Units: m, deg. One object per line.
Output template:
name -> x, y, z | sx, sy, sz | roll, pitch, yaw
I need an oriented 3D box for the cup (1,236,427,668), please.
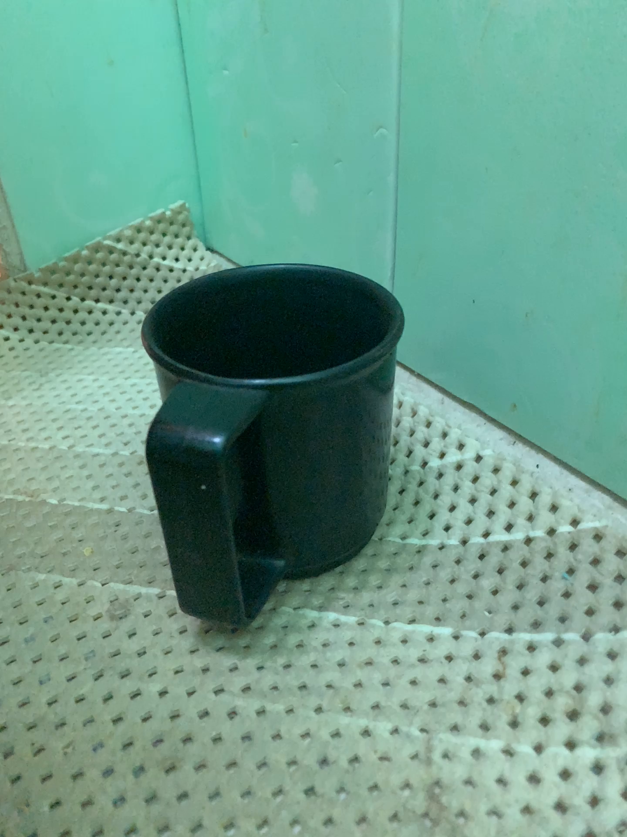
cup -> -0.018, 0.000, 0.219 | 0.090, 0.082, 0.112 | 8, 36, 15
